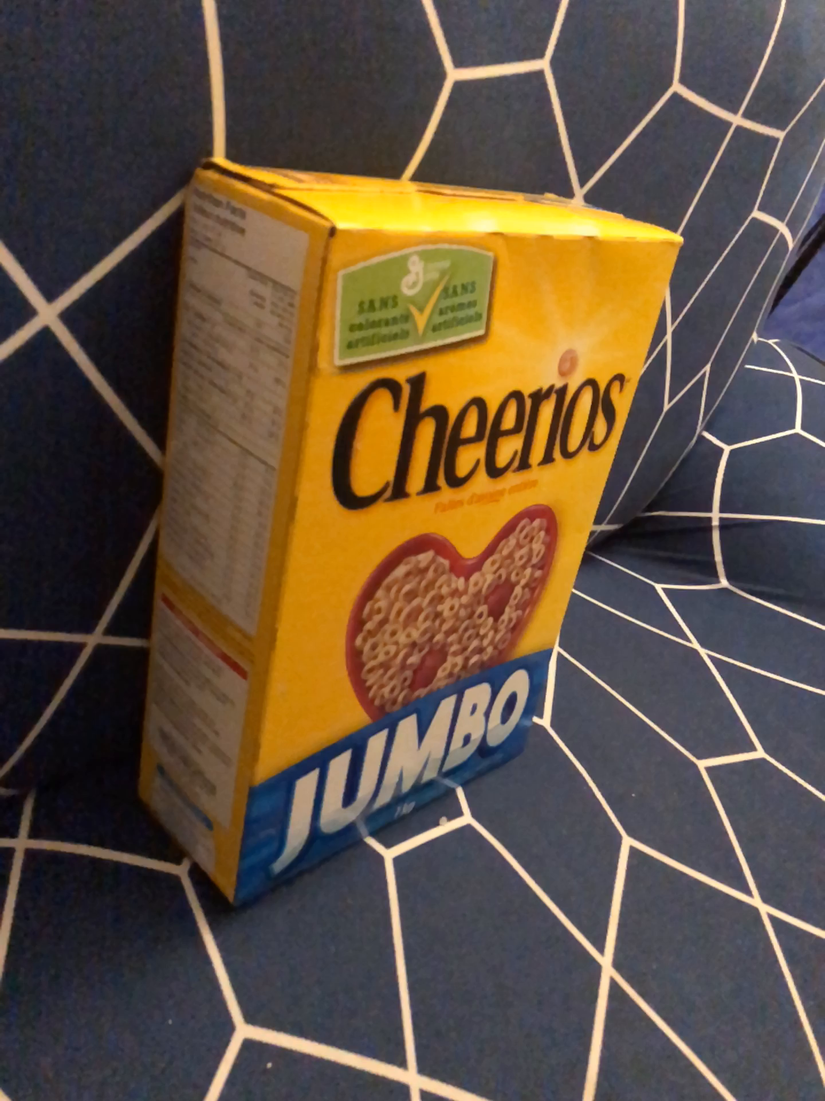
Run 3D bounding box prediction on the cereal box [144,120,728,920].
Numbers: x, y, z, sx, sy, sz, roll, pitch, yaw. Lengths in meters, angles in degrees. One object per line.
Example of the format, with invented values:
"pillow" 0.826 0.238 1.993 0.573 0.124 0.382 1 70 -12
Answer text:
"cereal box" 0.005 -0.014 0.400 0.211 0.288 0.080 -16 38 -43
